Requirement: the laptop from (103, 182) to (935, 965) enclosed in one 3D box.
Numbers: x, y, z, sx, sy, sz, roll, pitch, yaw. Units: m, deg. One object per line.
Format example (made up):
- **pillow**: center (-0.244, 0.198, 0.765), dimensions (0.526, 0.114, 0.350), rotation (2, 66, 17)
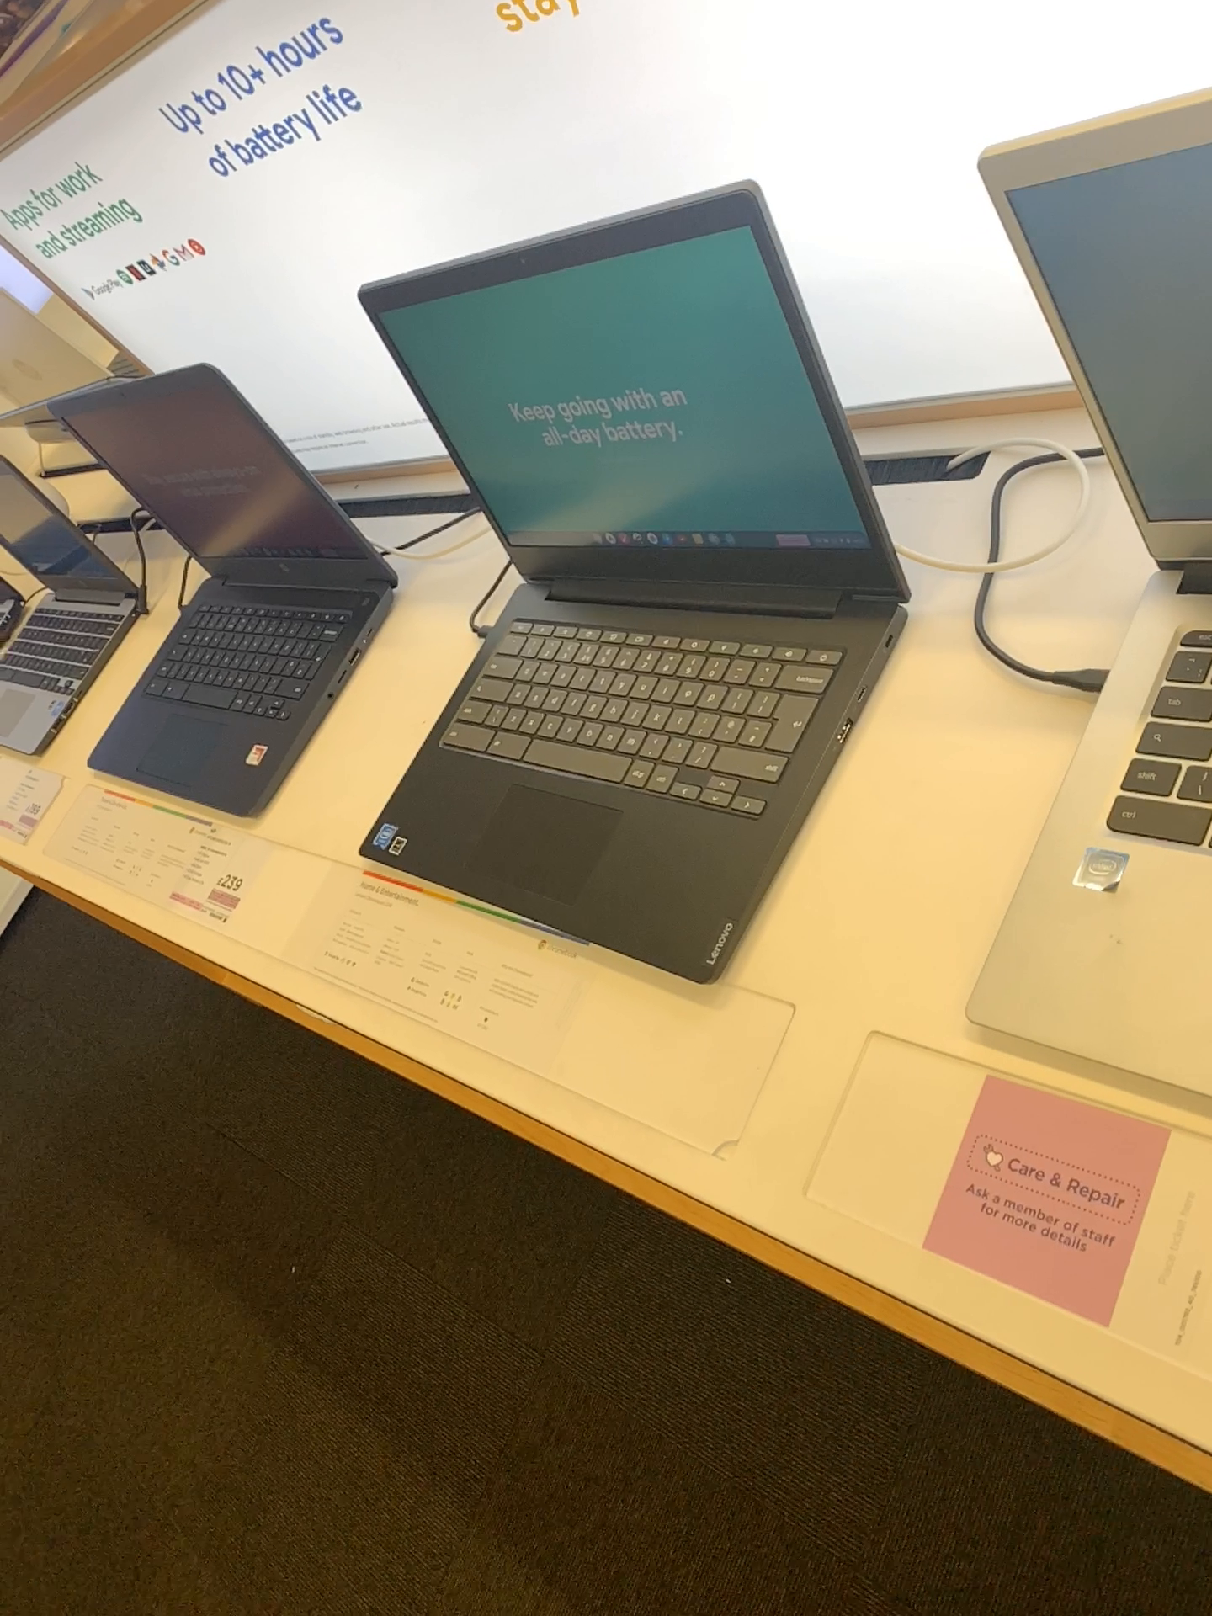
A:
- **laptop**: center (-0.053, -0.122, 0.677), dimensions (0.317, 0.201, 0.281), rotation (13, 69, 47)
